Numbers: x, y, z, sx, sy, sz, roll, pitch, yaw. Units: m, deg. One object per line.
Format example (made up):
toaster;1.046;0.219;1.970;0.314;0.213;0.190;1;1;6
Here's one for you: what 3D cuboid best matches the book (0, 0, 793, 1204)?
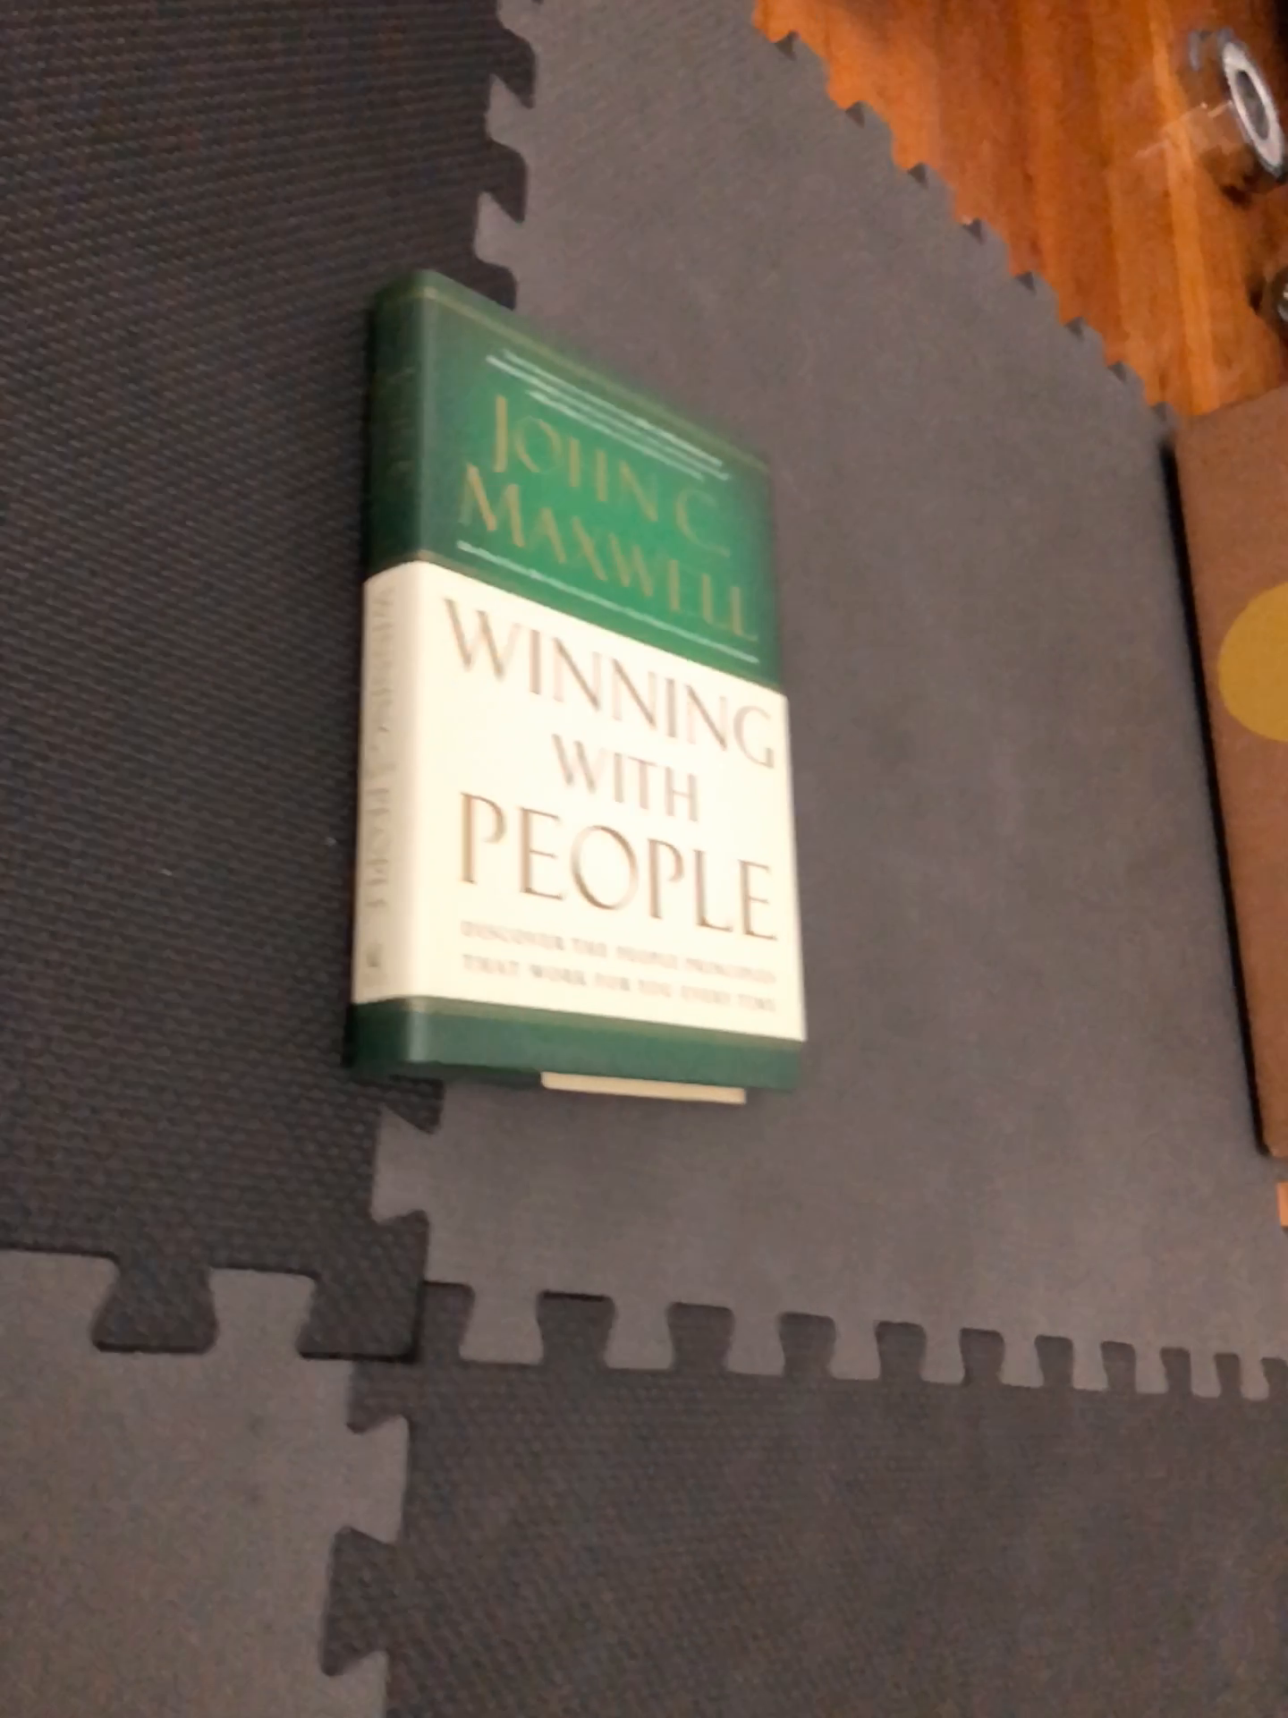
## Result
book;-0.043;-0.064;0.376;0.201;0.030;0.291;16;65;-42
